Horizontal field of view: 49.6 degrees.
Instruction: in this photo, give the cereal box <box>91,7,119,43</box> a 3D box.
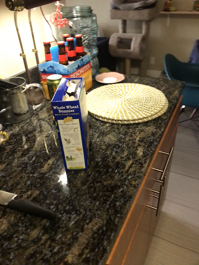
[{"bbox_3d":[0.203,-3.416,6.842,0.749,0.913,0.756,5,34,12],"label":"cereal box"}]
